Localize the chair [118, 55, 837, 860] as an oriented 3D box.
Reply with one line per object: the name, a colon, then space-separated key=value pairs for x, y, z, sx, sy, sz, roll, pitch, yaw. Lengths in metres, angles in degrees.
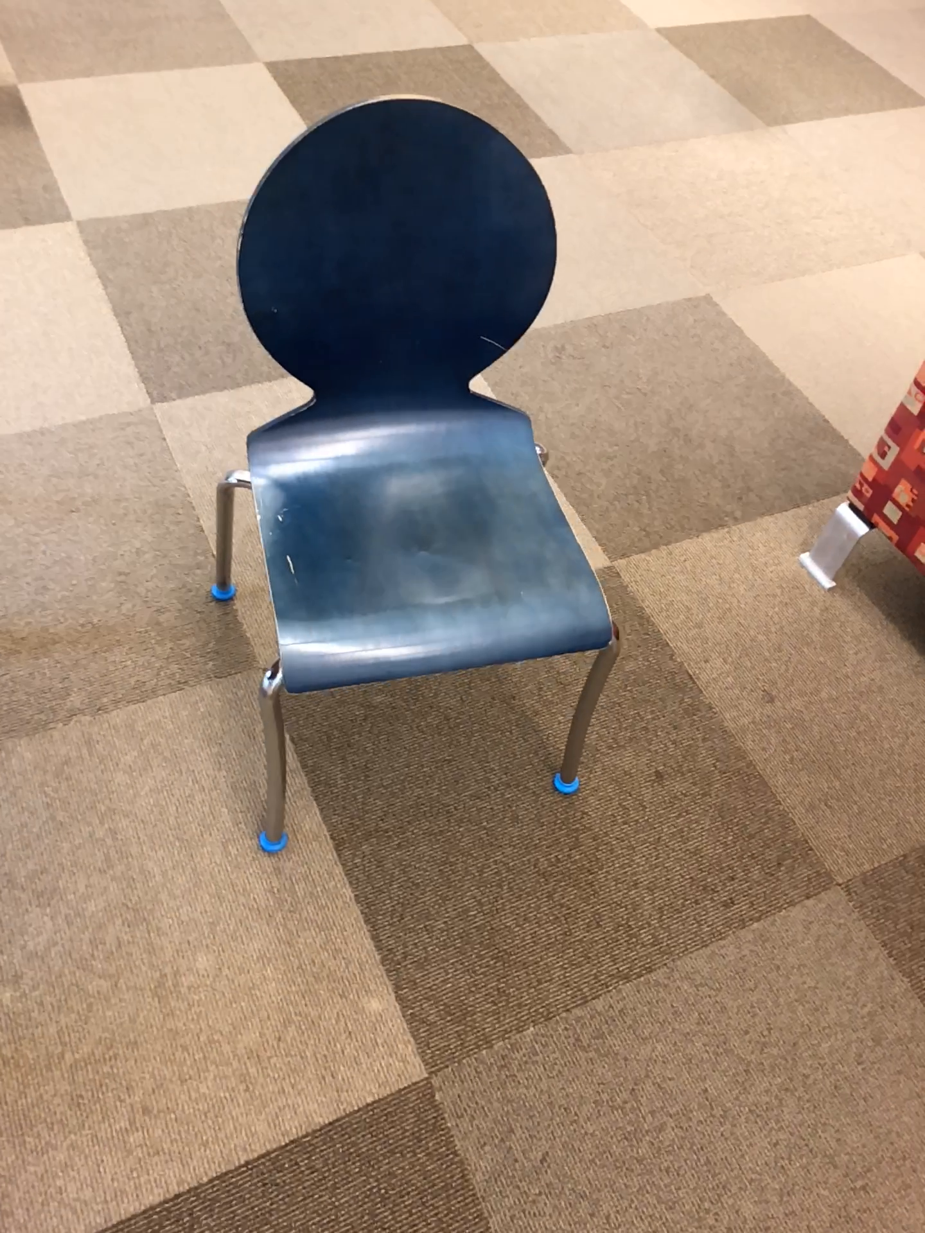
chair: x=-0.053 y=-0.147 z=1.120 sx=0.497 sy=0.699 sz=0.475 roll=-8 pitch=53 yaw=-14
